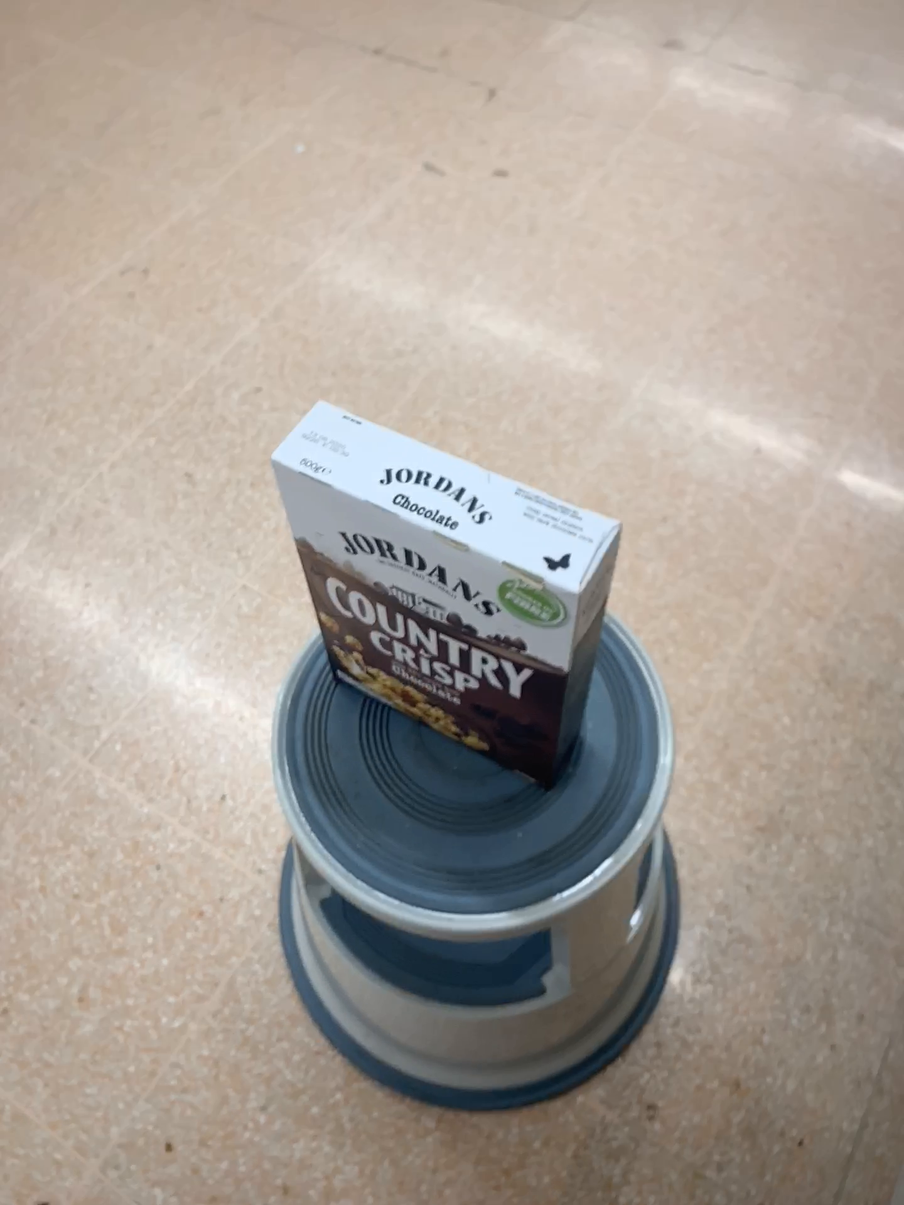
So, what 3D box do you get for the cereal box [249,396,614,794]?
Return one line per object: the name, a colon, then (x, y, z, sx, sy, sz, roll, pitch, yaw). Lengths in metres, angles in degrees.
cereal box: (-0.008, 0.010, 0.569, 0.180, 0.248, 0.050, 25, 63, 17)
